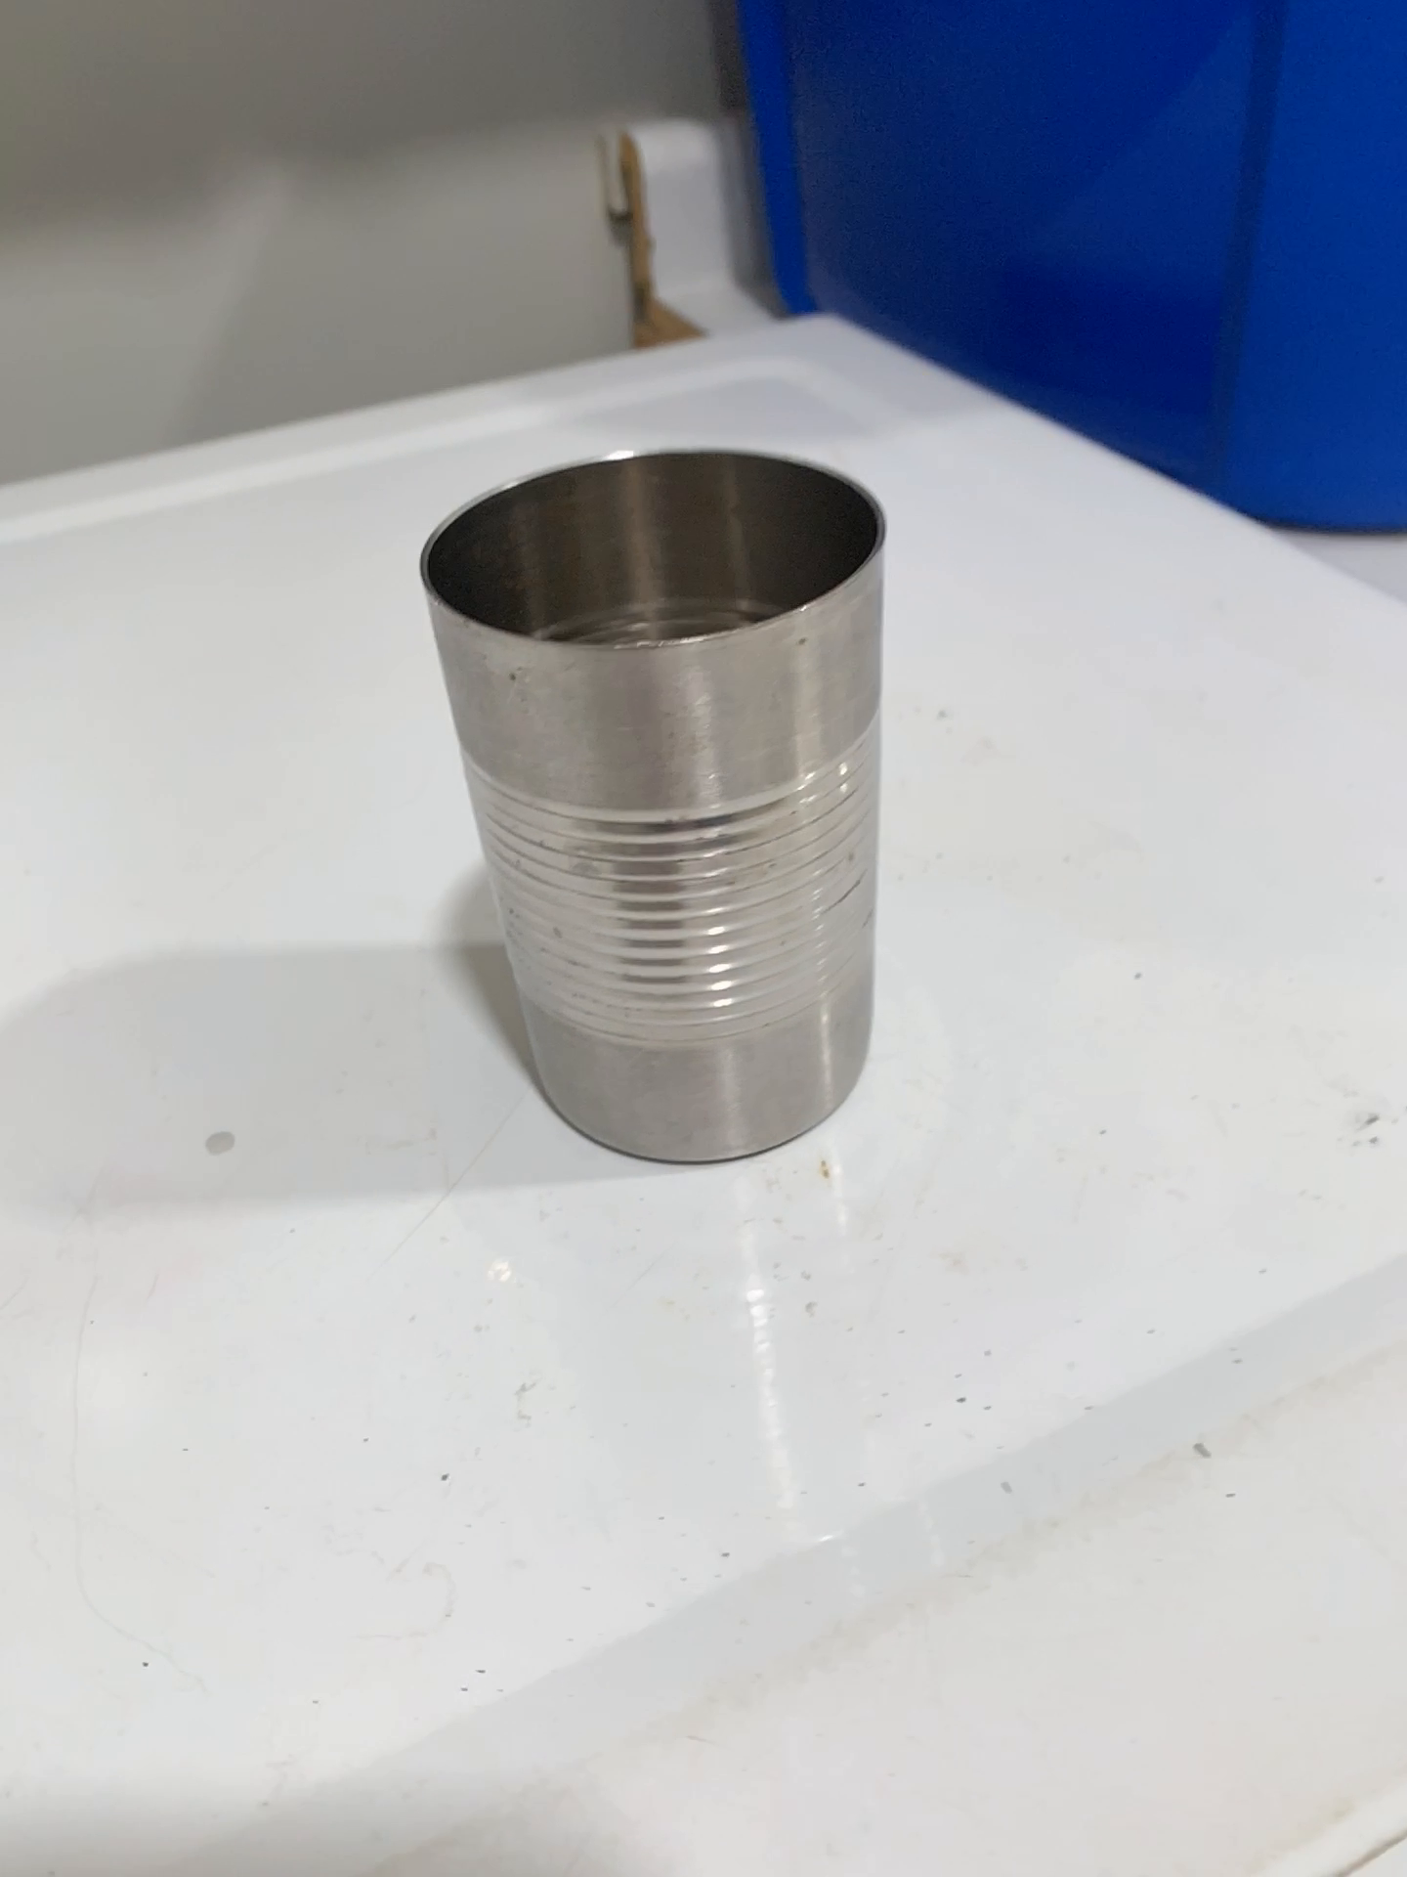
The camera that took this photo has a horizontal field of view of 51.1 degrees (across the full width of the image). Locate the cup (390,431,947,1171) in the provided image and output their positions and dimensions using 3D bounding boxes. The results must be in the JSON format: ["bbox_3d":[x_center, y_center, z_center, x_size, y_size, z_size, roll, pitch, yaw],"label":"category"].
[{"bbox_3d":[0.001,-0.022,0.240,0.070,0.095,0.071,-3,38,2],"label":"cup"}]
